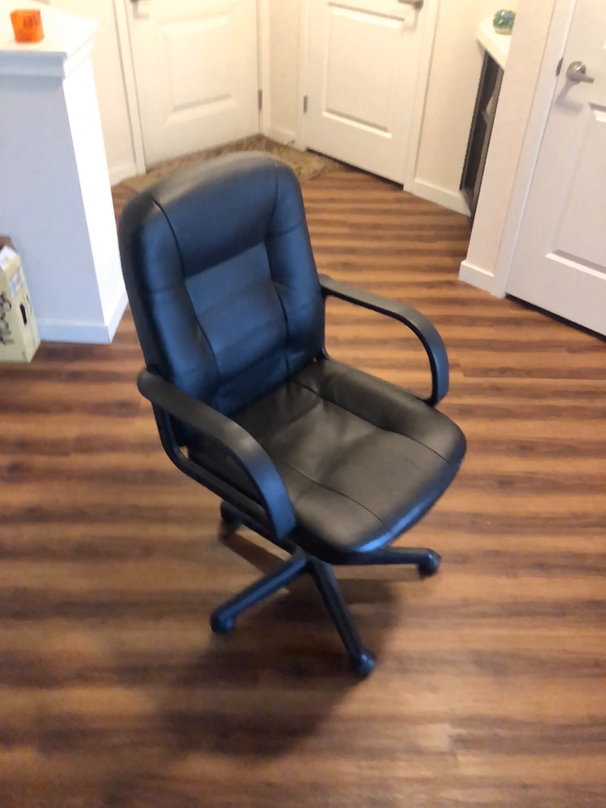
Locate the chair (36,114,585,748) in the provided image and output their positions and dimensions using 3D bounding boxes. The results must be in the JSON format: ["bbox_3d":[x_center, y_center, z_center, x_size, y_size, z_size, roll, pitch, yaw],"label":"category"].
[{"bbox_3d":[0.013,0.040,1.456,0.668,1.012,0.664,29,47,29],"label":"chair"}]
